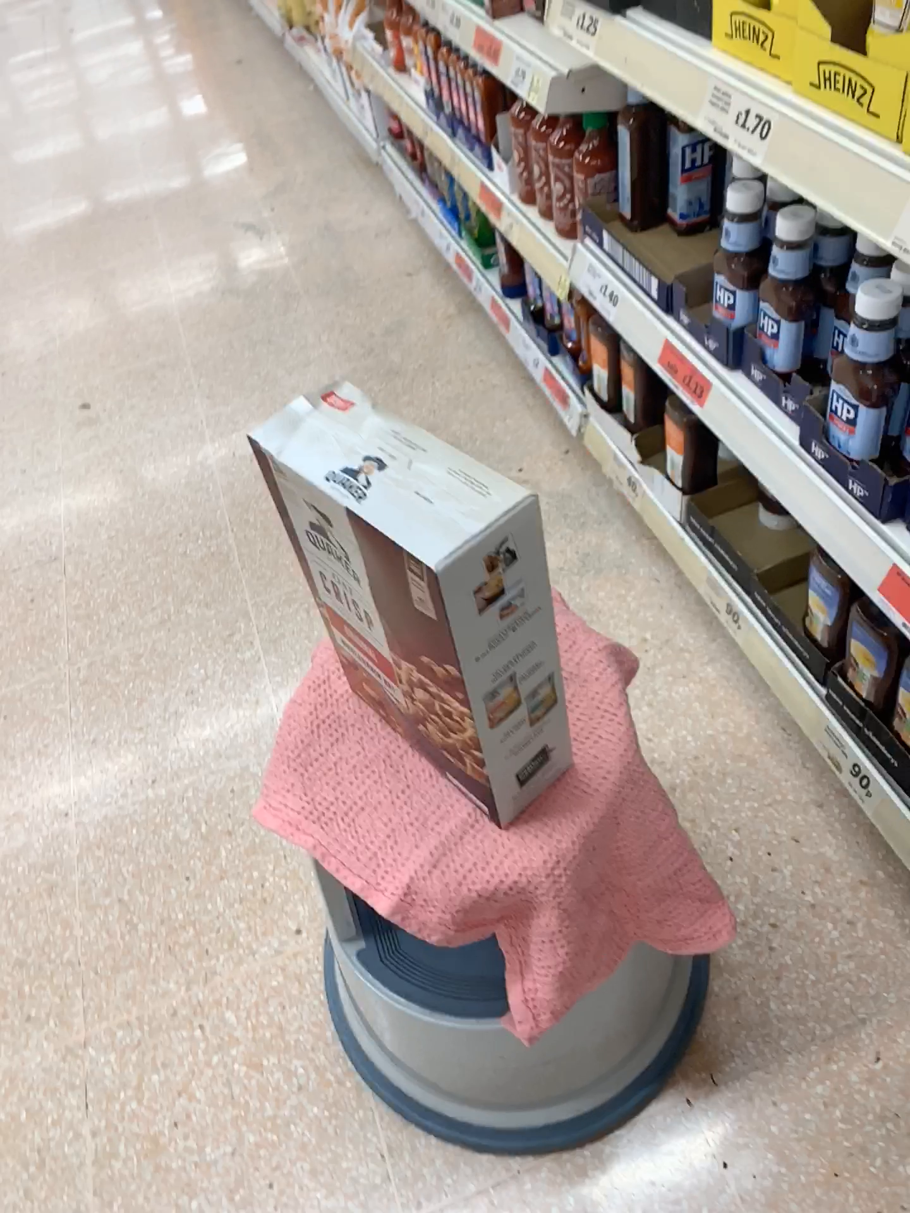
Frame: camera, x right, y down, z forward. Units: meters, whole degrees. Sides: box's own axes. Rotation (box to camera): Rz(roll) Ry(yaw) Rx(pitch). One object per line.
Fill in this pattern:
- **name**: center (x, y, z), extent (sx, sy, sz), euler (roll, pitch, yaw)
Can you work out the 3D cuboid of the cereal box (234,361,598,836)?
- **cereal box**: center (-0.015, 0.001, 0.627), extent (0.090, 0.268, 0.191), euler (-38, 51, -19)
